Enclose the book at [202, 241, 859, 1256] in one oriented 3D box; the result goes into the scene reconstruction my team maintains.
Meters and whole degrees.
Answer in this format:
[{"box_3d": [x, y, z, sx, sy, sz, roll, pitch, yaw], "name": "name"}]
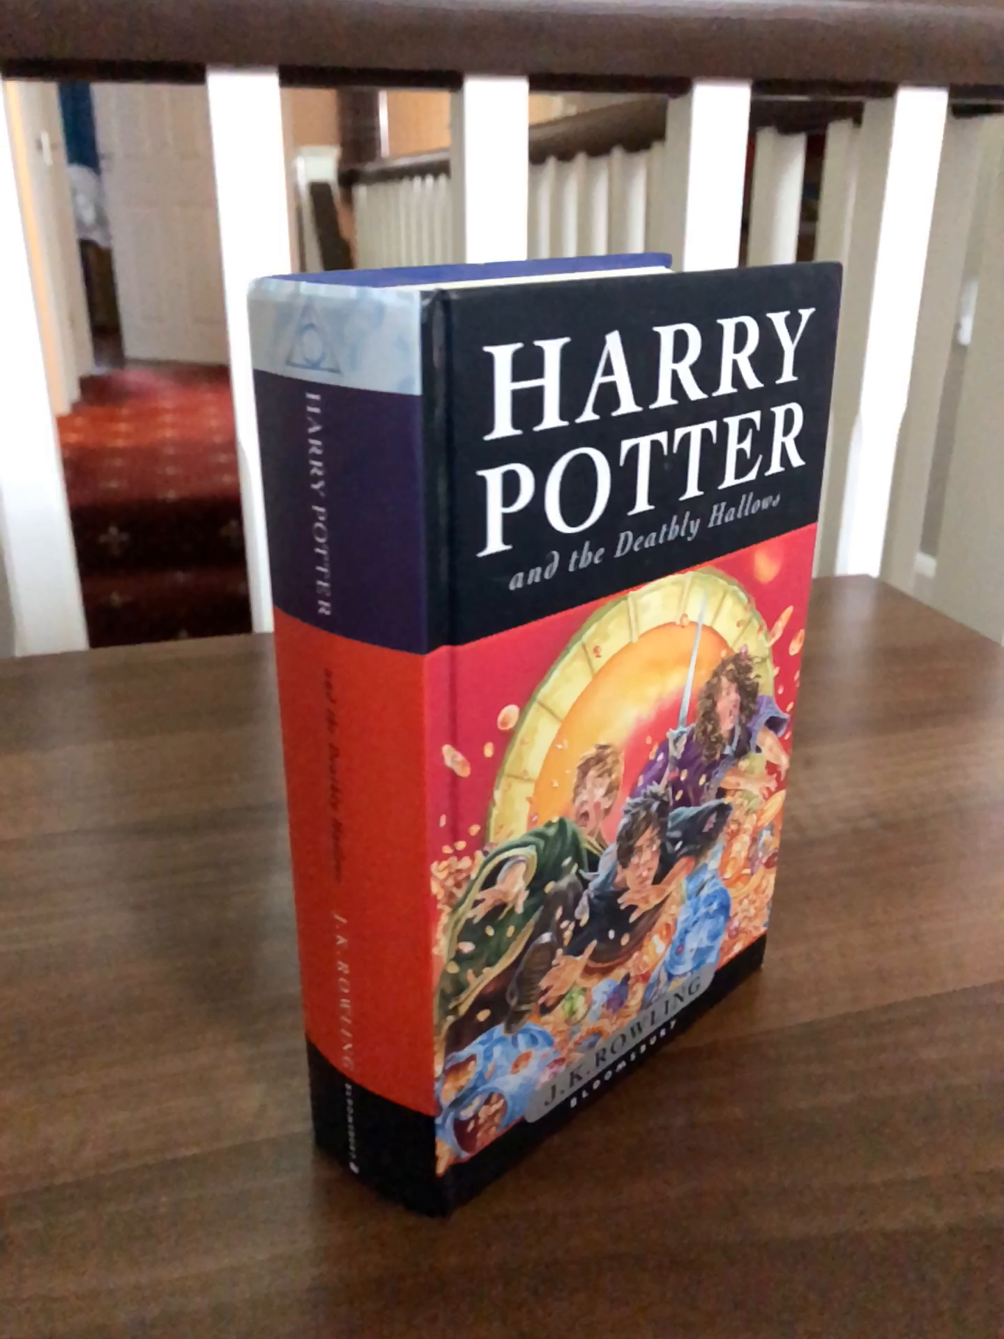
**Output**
[{"box_3d": [0.013, 0.006, 0.276, 0.140, 0.209, 0.060, -19, 28, -41], "name": "book"}]
